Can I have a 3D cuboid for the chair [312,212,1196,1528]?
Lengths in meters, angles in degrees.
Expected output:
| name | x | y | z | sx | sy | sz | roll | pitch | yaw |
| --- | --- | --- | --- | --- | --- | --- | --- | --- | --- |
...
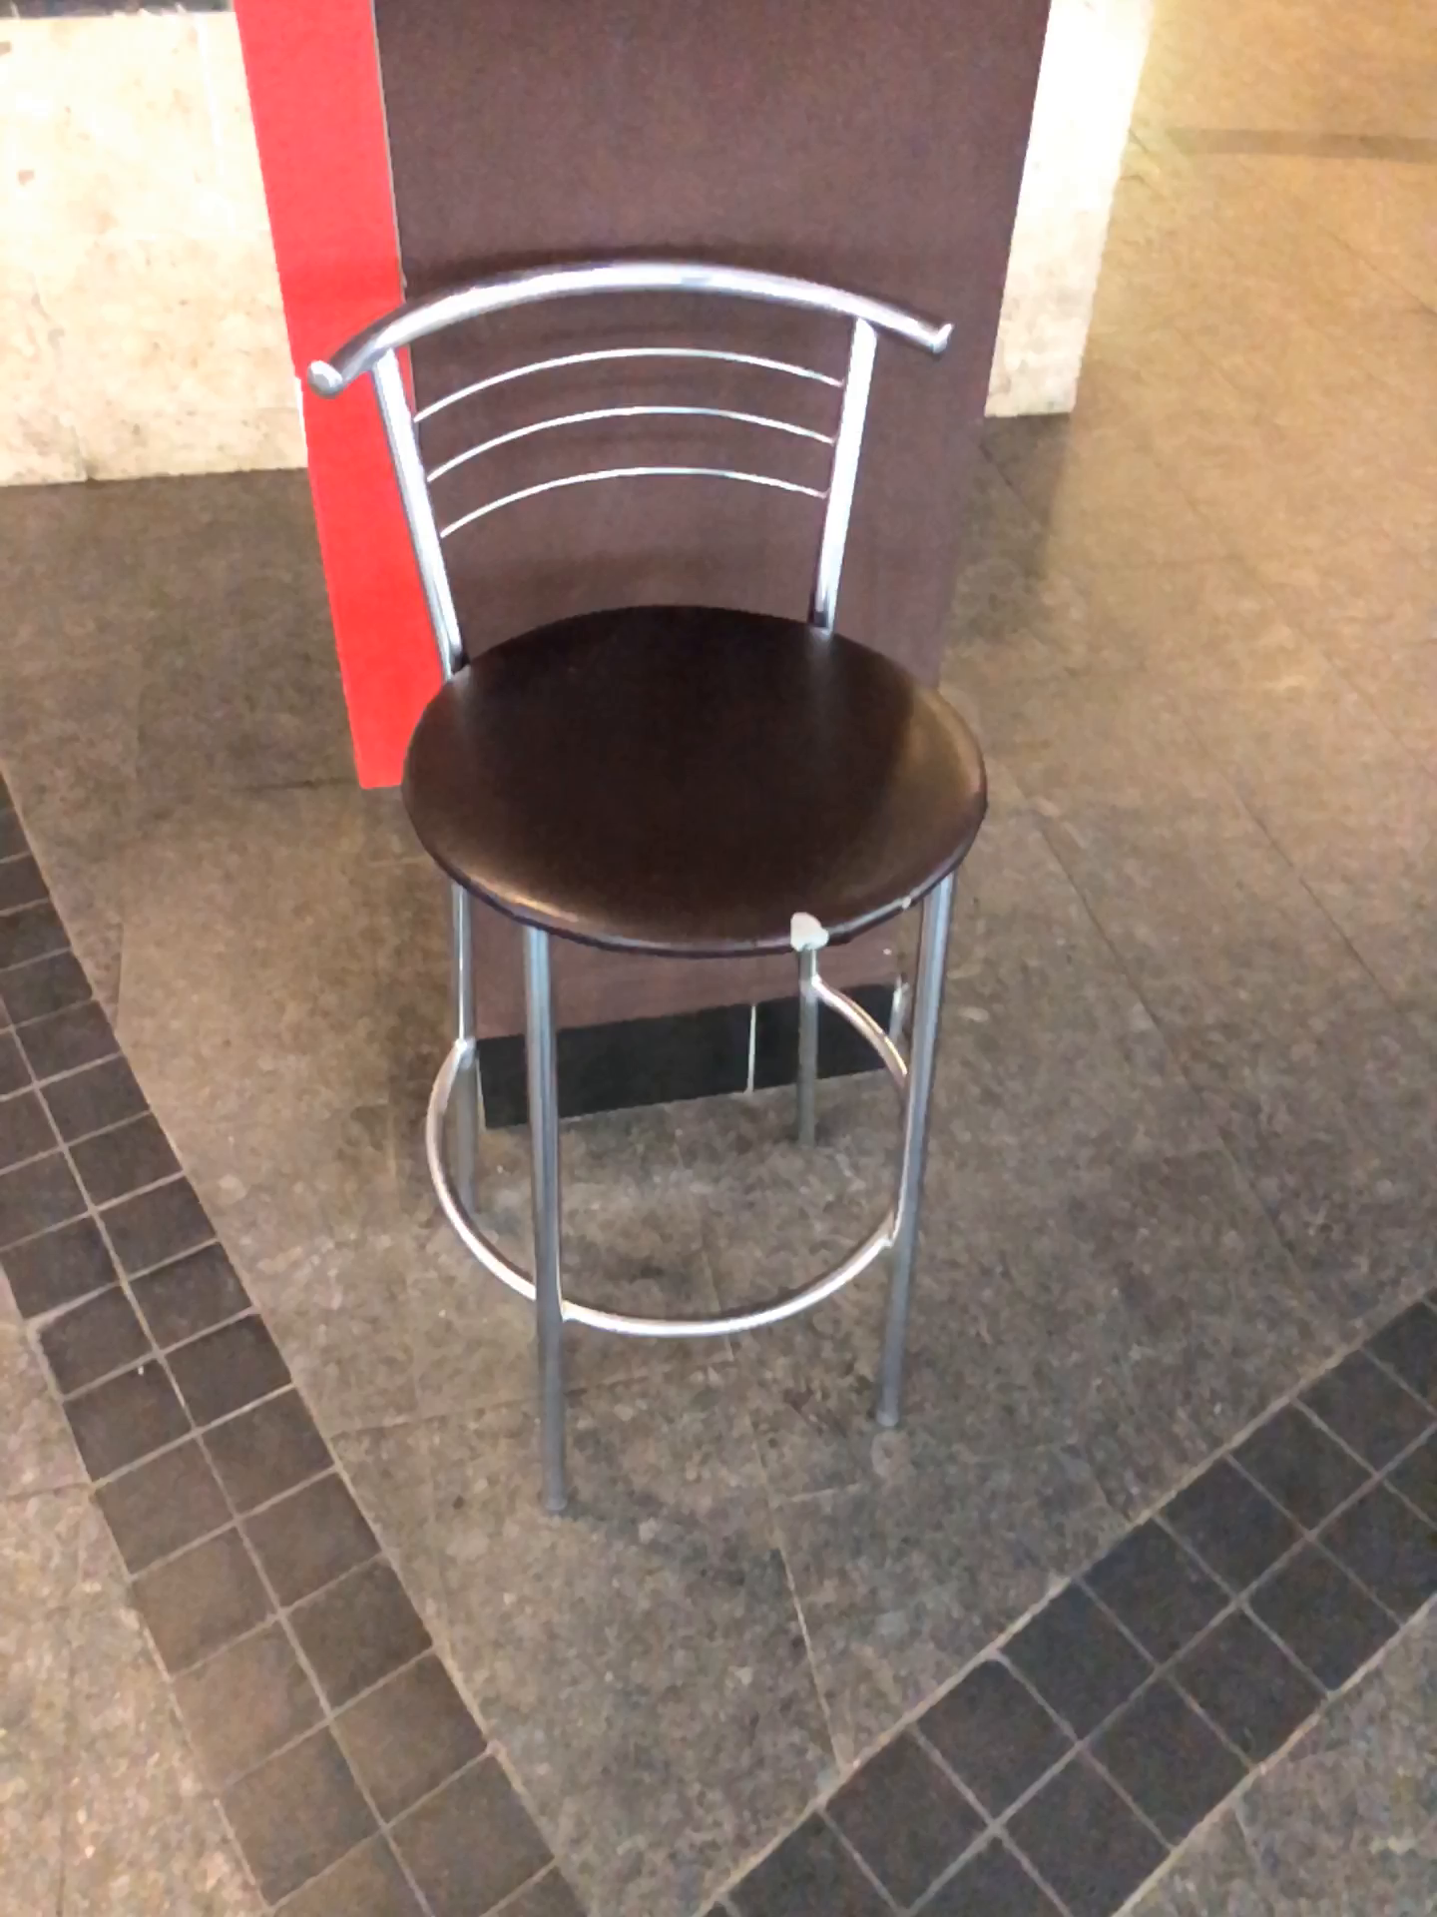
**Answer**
| name | x | y | z | sx | sy | sz | roll | pitch | yaw |
| --- | --- | --- | --- | --- | --- | --- | --- | --- | --- |
| chair | -0.023 | -0.014 | 1.243 | 0.410 | 0.936 | 0.412 | -11 | 45 | -14 |
